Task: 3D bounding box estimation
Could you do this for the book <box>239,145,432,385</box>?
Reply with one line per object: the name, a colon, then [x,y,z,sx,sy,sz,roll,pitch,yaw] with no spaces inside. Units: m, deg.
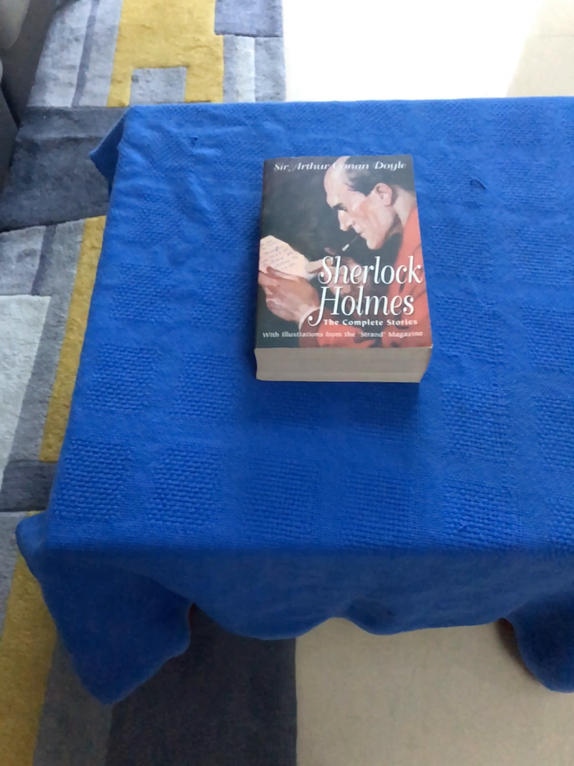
book: [0.044,-0.120,0.618,0.160,0.070,0.241,0,60,3]
